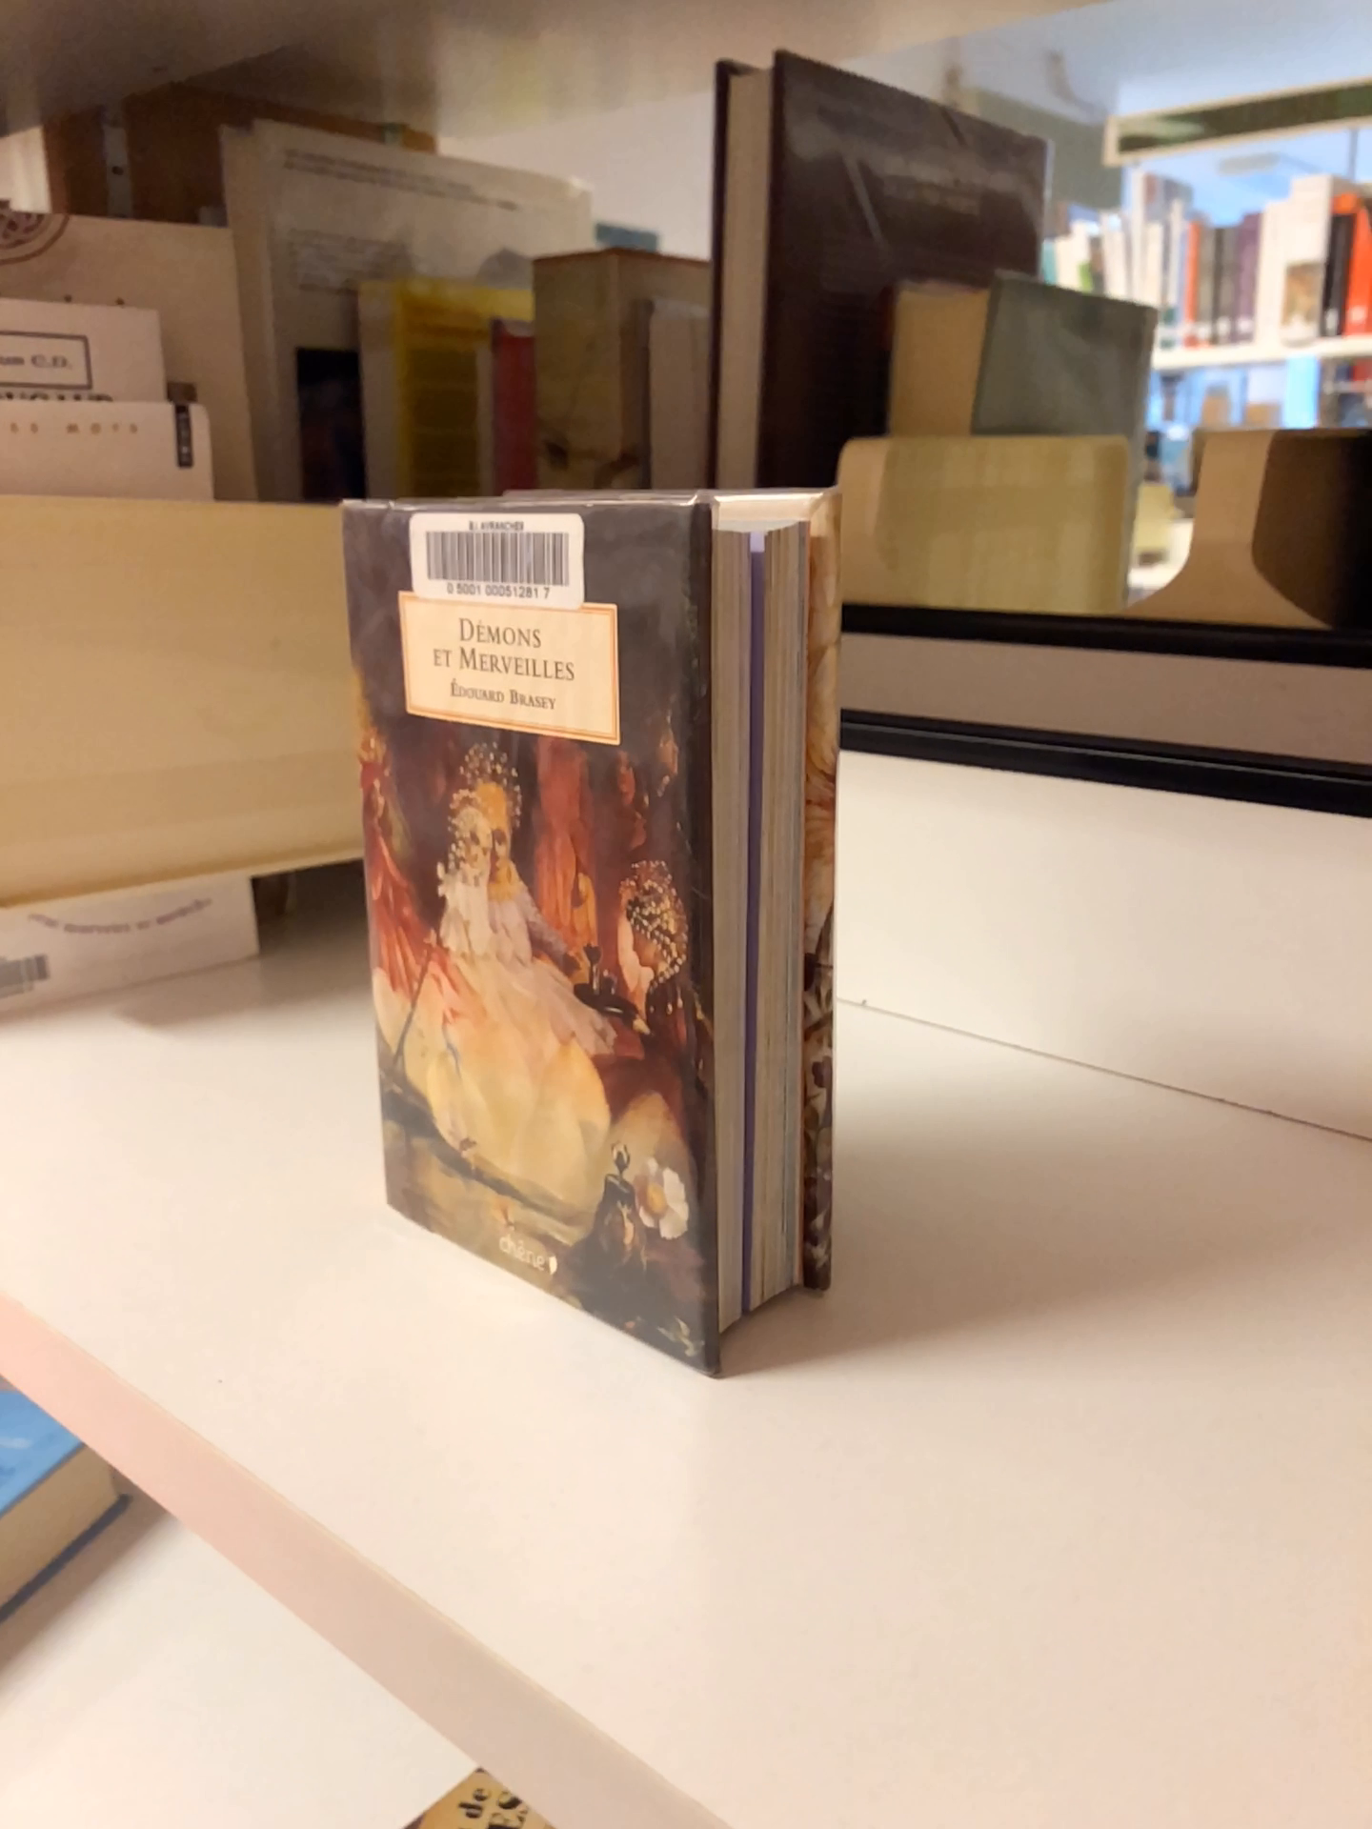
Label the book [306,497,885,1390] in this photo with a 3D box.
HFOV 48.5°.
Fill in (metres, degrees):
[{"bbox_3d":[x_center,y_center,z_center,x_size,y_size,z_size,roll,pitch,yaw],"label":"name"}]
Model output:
[{"bbox_3d":[-0.022,-0.004,0.311,0.114,0.156,0.047,14,19,43],"label":"book"}]
